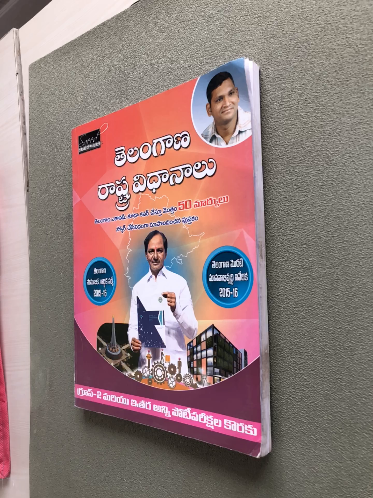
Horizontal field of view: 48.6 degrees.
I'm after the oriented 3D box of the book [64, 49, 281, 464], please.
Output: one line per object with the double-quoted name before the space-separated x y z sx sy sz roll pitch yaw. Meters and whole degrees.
"book" -0.024 0.006 0.315 0.181 0.030 0.250 -5 85 37
